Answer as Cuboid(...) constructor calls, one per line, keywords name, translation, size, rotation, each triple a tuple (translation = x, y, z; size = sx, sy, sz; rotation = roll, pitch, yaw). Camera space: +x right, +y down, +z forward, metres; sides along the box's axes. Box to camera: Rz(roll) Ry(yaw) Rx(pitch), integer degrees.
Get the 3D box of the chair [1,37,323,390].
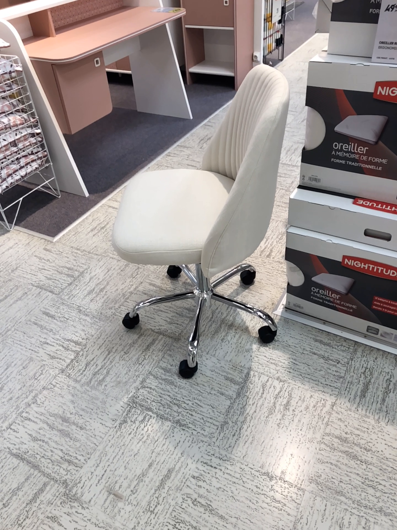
Cuboid(name="chair", translation=(-0.067, -0.174, 1.364), size=(0.630, 0.785, 0.704), rotation=(-6, 39, -1))
